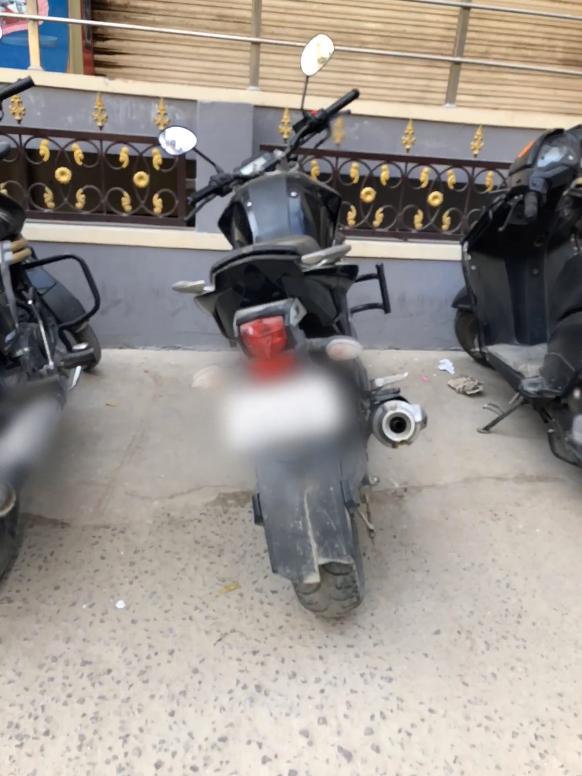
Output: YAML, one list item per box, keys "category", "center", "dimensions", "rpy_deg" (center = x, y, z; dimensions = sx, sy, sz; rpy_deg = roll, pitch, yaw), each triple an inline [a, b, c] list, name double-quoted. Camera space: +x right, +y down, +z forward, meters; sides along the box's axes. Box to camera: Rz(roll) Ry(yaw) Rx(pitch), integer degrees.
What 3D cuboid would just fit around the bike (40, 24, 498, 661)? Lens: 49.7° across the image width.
- category: "bike"
  center: [-0.165, -0.336, 1.973]
  dimensions: [0.692, 1.197, 1.766]
  rpy_deg: [2, 24, -6]
